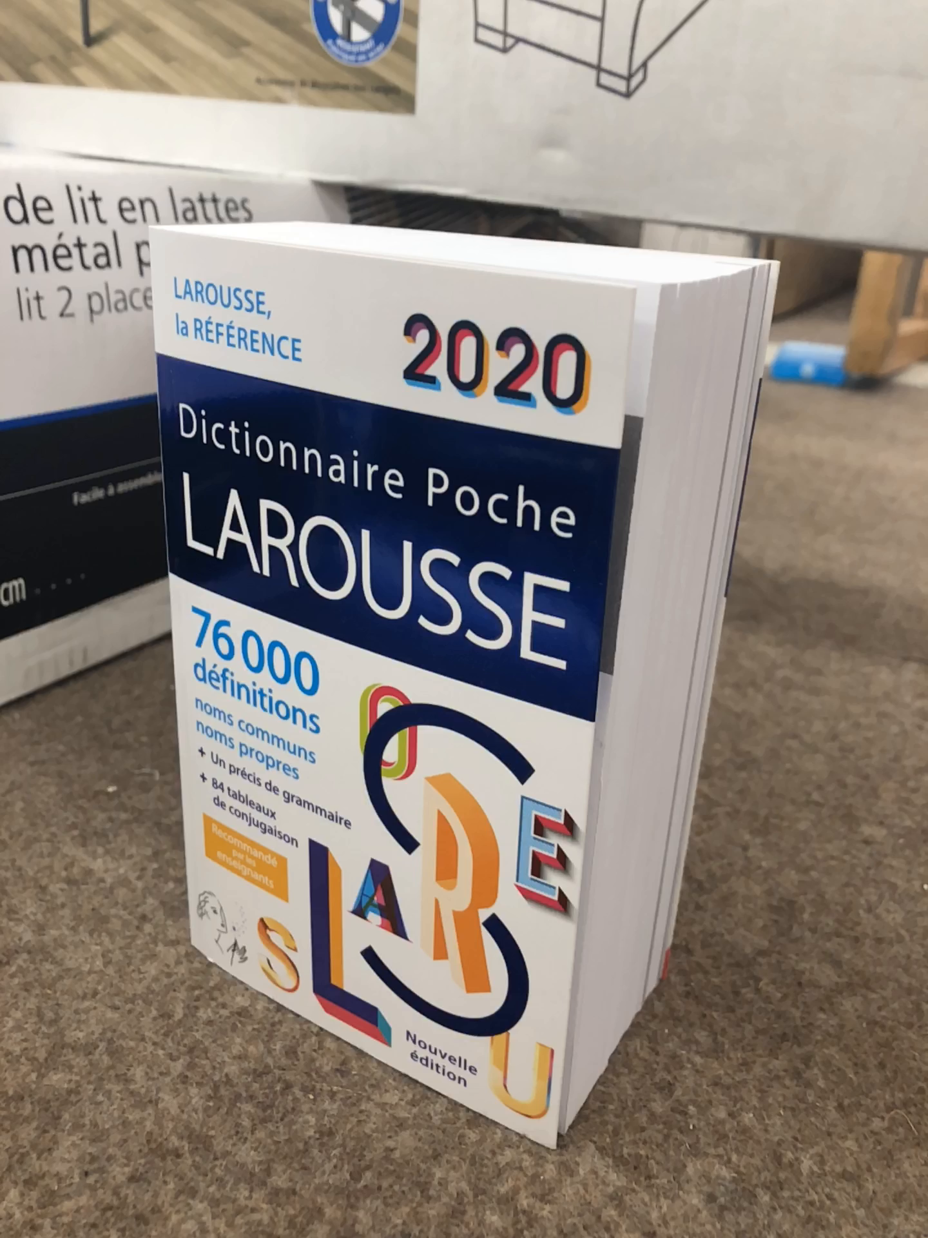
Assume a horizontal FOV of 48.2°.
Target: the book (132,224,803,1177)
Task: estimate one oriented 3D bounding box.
[{"bbox_3d":[-0.004,0.010,0.228,0.111,0.173,0.061,16,26,29],"label":"book"}]
